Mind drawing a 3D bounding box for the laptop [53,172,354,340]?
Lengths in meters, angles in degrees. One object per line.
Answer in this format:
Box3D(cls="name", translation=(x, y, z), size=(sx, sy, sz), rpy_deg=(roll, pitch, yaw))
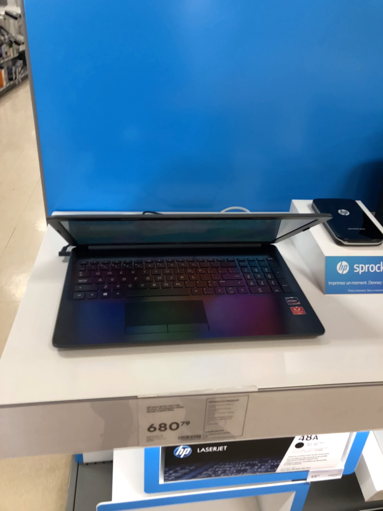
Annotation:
Box3D(cls="laptop", translation=(0.003, -0.014, 0.616), size=(0.355, 0.130, 0.243), rpy_deg=(0, 30, -11))
